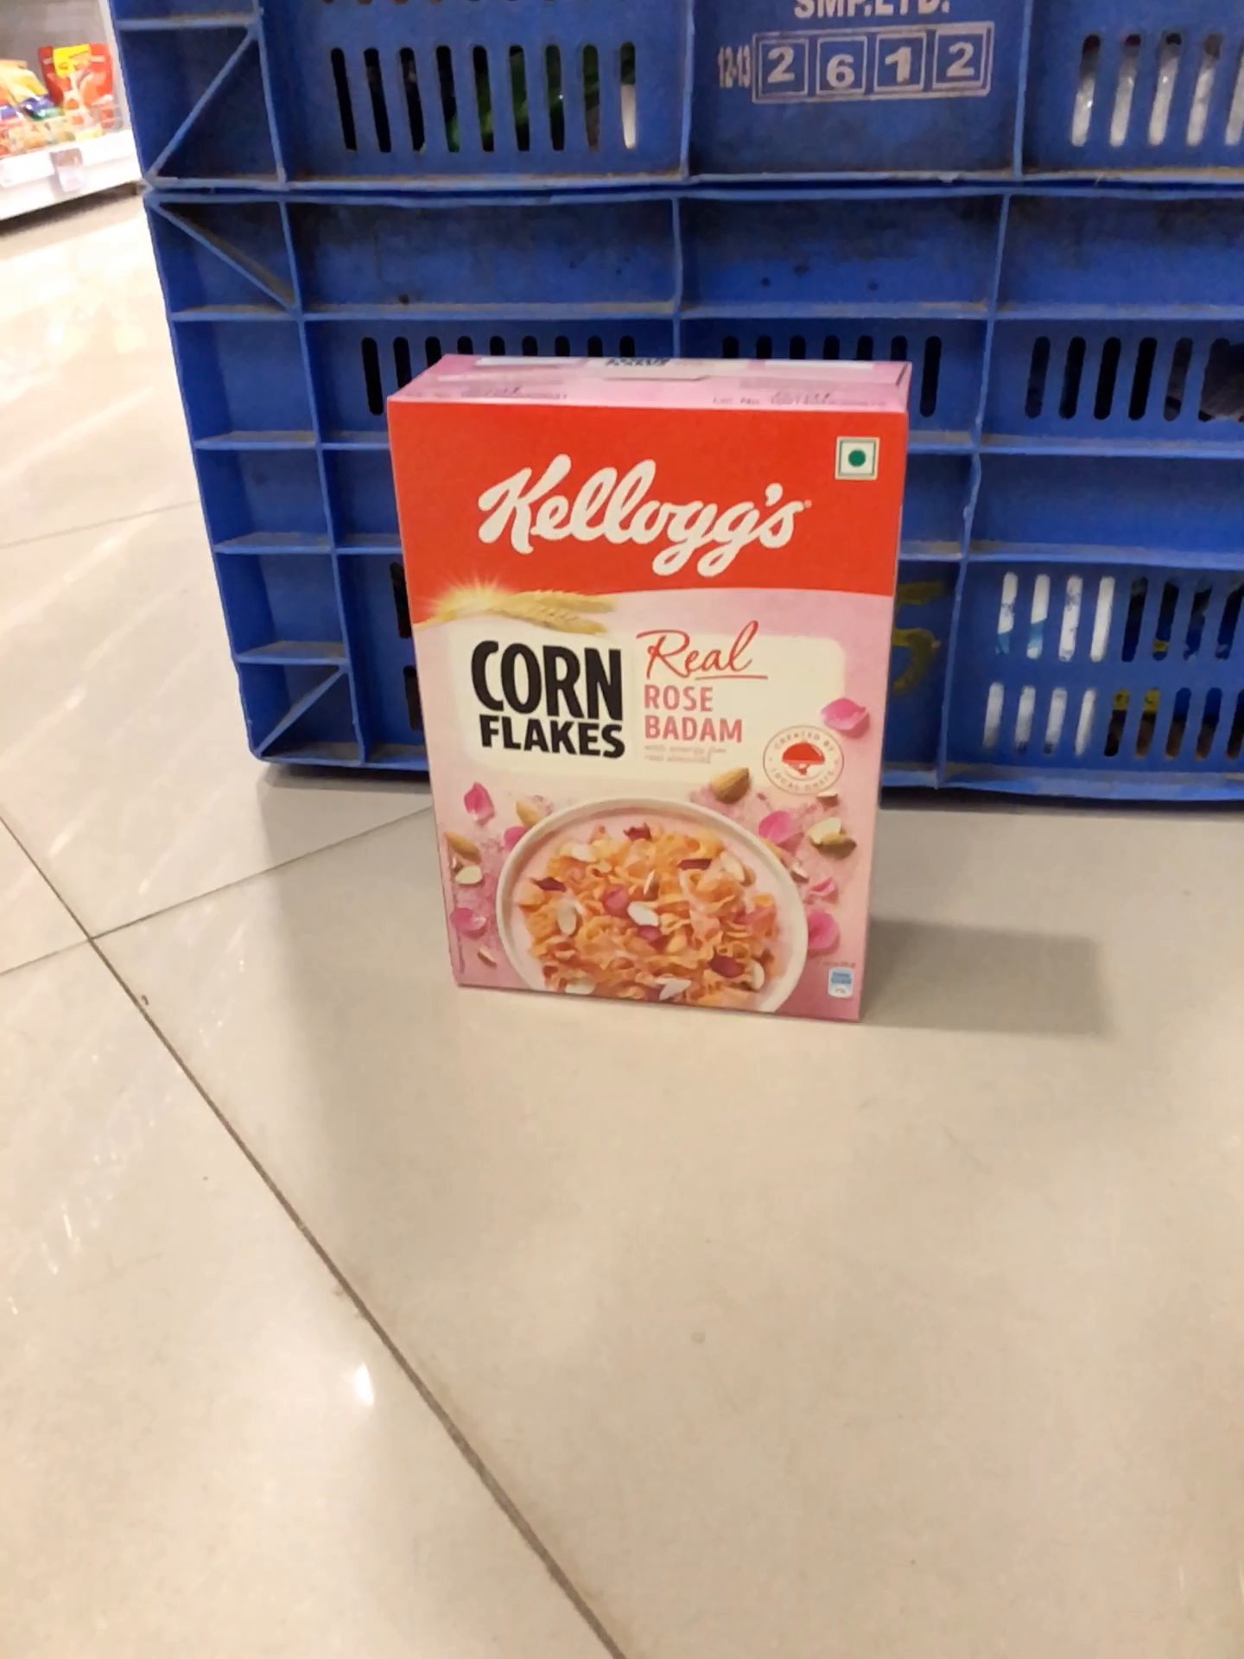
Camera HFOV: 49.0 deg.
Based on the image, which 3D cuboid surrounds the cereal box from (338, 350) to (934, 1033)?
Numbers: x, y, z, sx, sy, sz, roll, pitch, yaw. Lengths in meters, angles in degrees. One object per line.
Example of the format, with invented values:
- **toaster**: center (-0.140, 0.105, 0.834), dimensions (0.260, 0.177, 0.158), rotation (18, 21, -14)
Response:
- **cereal box**: center (0.011, -0.050, 0.550), dimensions (0.200, 0.258, 0.070), rotation (4, 32, 9)
